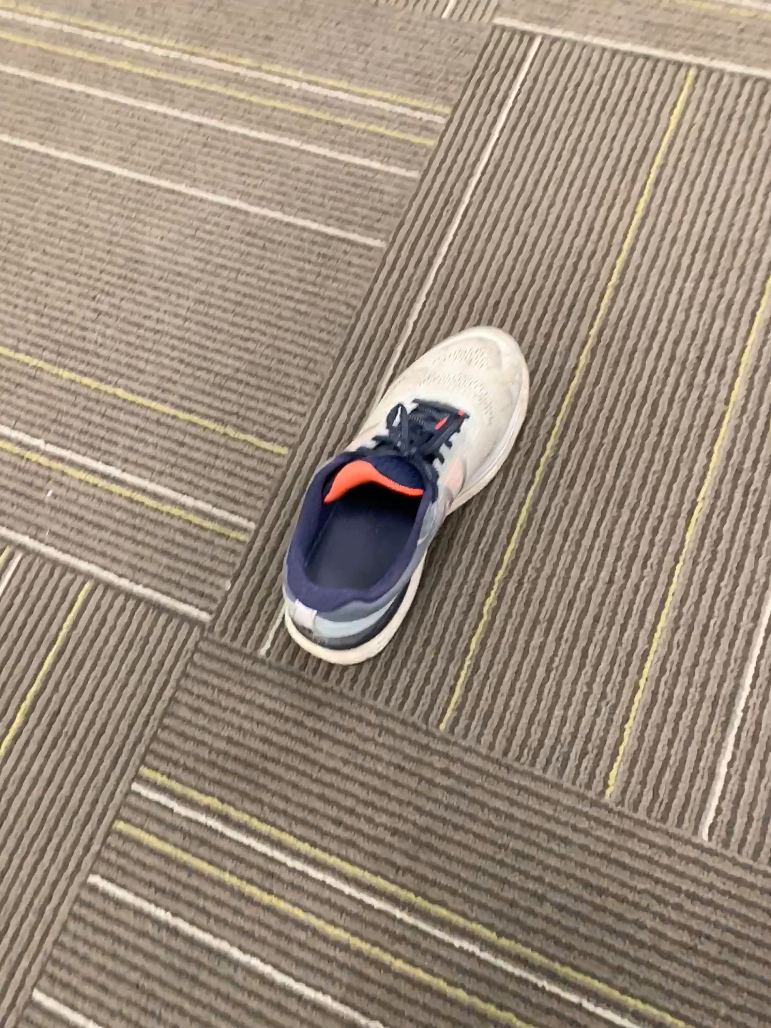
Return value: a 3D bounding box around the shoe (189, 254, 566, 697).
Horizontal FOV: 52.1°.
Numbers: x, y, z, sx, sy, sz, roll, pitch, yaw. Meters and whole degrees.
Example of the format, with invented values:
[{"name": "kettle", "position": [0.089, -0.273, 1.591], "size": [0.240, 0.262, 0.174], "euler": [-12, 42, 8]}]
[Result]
[{"name": "shoe", "position": [0.003, -0.032, 0.578], "size": [0.130, 0.080, 0.290], "euler": [28, 77, 15]}]
